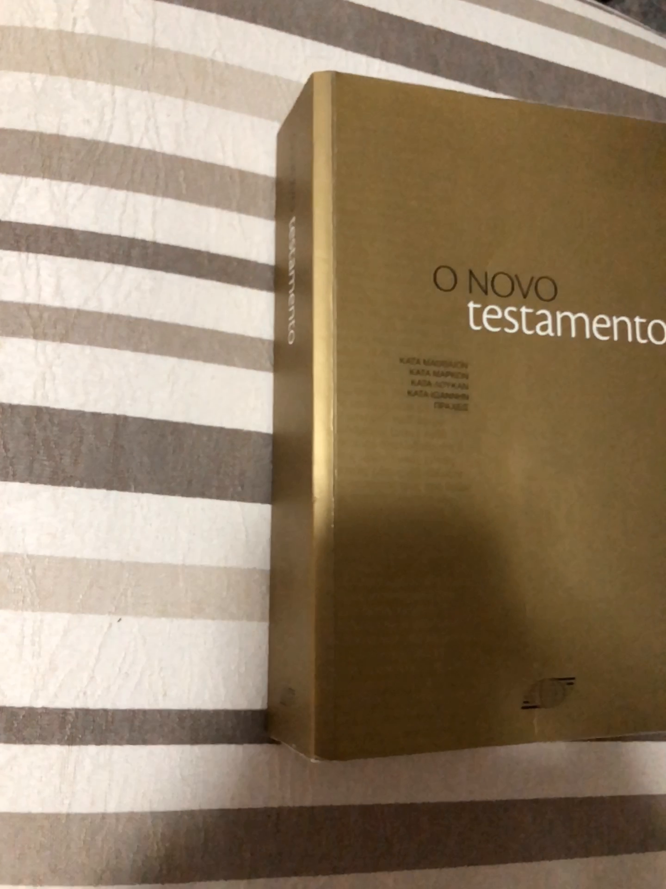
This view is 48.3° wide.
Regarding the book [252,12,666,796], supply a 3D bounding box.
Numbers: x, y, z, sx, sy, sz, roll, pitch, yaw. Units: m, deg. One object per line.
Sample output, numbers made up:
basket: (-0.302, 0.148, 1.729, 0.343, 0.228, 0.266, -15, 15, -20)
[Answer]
book: (0.056, -0.015, 0.261, 0.160, 0.050, 0.230, 3, 79, -18)
